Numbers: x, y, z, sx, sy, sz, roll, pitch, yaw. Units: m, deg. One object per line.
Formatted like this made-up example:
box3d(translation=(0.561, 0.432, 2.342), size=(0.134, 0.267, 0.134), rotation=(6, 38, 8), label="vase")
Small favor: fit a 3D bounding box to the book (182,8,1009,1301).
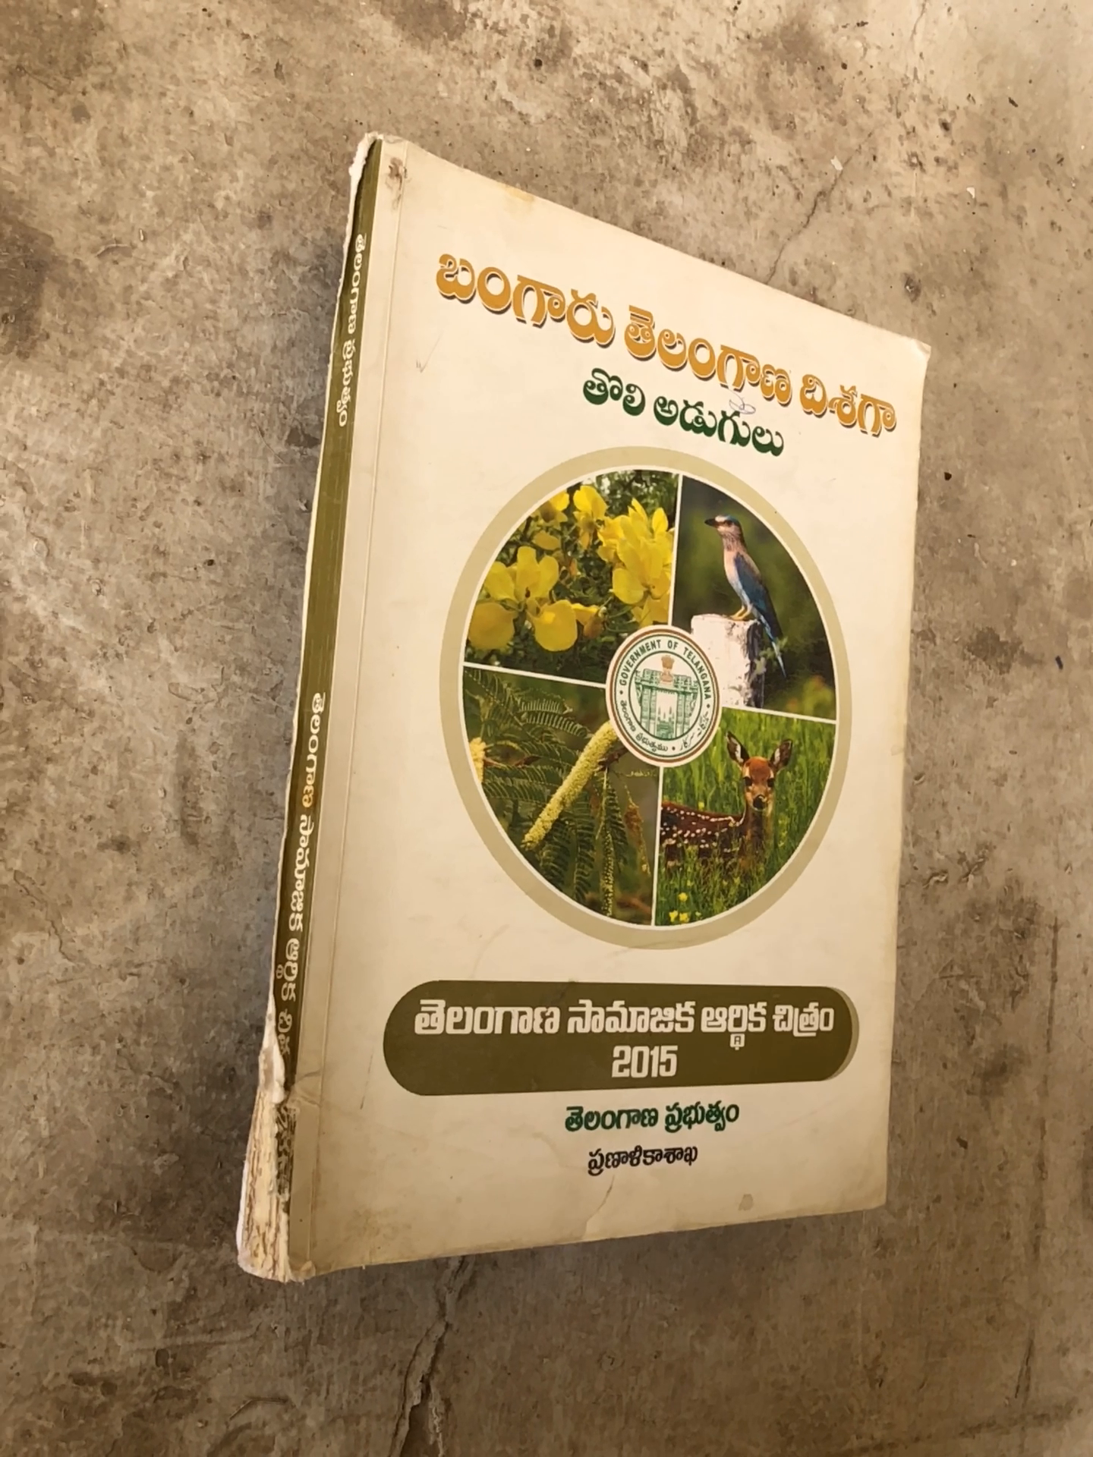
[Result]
box3d(translation=(0.029, -0.011, 0.347), size=(0.221, 0.060, 0.290), rotation=(7, 83, -29), label="book")
